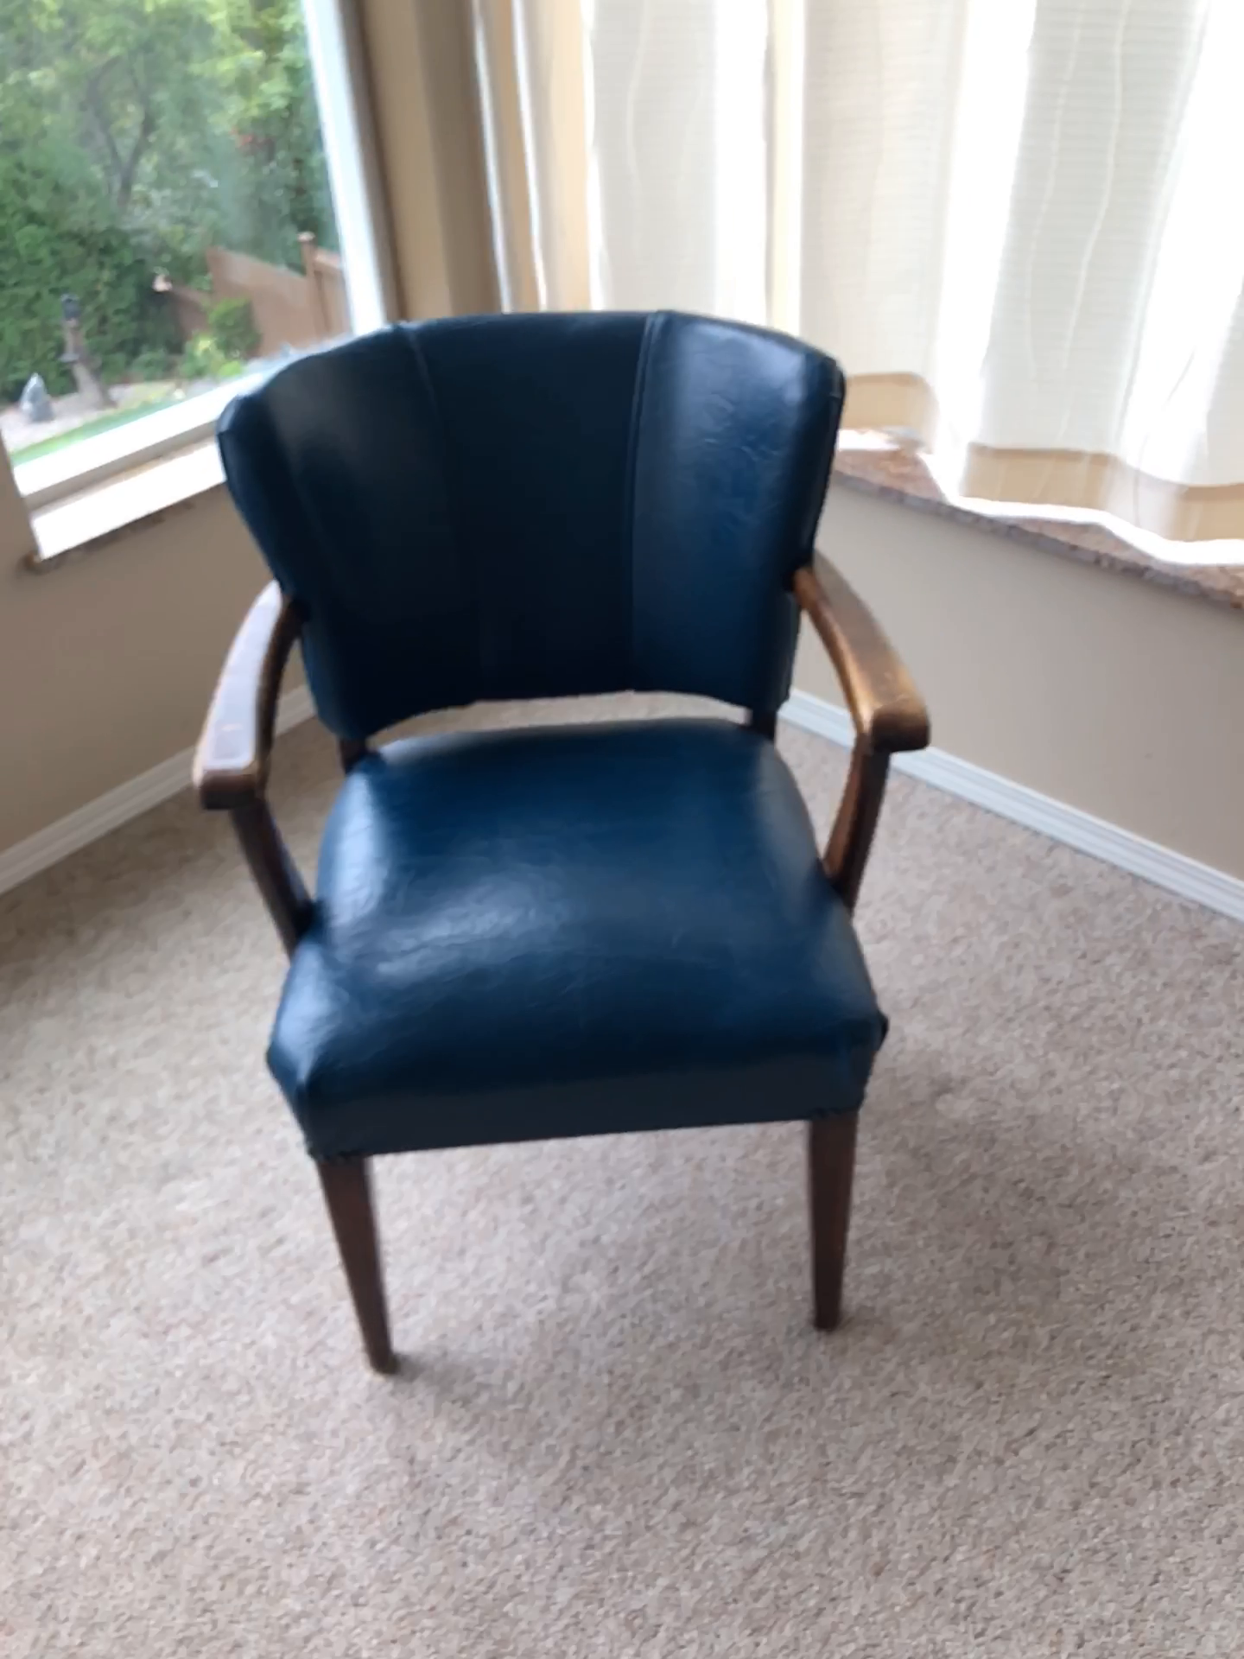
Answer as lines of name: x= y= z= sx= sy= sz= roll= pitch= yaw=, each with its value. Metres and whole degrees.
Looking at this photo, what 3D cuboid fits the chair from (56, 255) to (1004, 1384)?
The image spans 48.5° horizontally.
chair: x=-0.055 y=0.002 z=1.239 sx=0.530 sy=0.797 sz=0.562 roll=-5 pitch=39 yaw=-2
